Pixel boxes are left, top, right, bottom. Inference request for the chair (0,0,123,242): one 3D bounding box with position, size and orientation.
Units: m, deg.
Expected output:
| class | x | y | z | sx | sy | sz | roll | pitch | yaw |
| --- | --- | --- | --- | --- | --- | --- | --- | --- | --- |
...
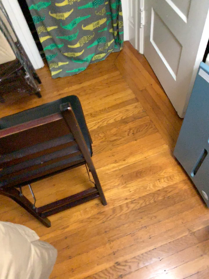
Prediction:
| class | x | y | z | sx | sy | sz | roll | pitch | yaw |
| --- | --- | --- | --- | --- | --- | --- | --- | --- | --- |
| chair | -0.279 | -0.027 | 0.882 | 0.490 | 0.866 | 0.553 | -21 | 55 | -6 |
